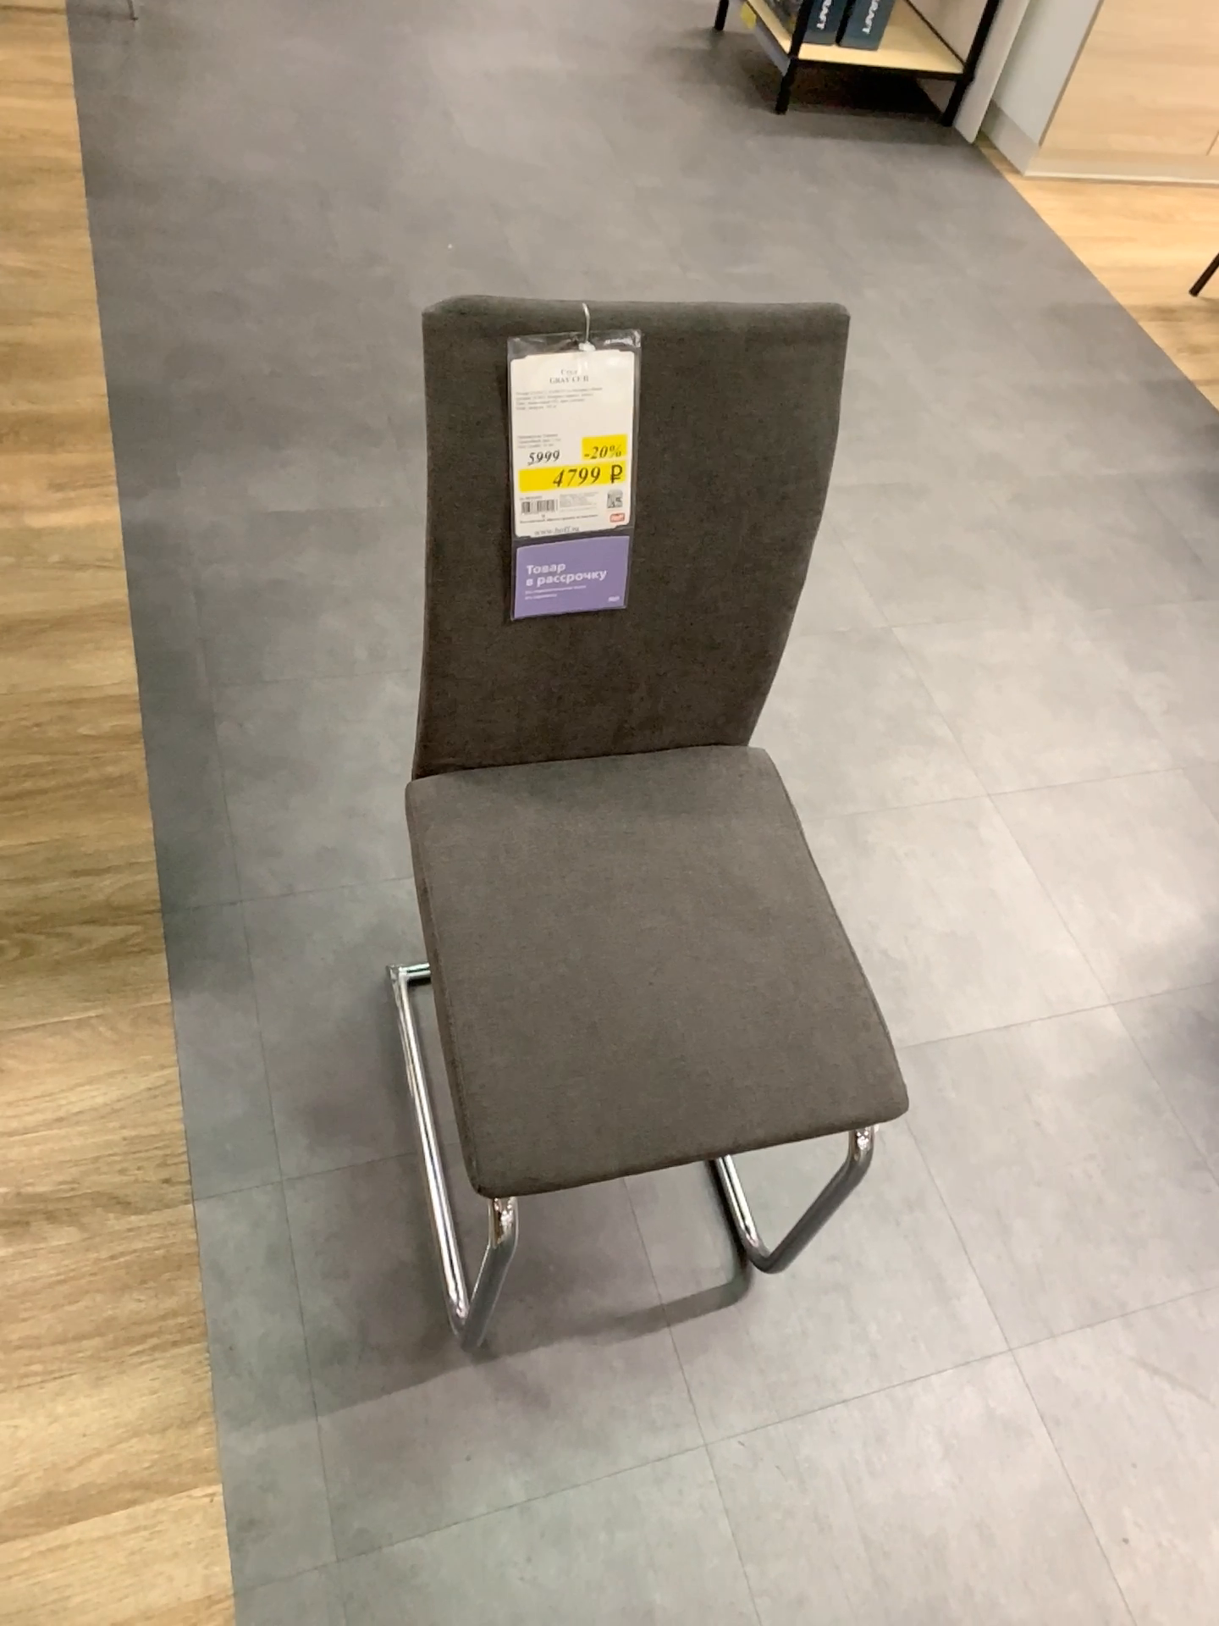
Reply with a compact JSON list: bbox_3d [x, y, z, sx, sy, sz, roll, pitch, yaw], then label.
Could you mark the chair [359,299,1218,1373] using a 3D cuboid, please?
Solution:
[{"bbox_3d":[0.026,0.092,1.249,0.436,0.975,0.541,-7,54,-18],"label":"chair"}]
